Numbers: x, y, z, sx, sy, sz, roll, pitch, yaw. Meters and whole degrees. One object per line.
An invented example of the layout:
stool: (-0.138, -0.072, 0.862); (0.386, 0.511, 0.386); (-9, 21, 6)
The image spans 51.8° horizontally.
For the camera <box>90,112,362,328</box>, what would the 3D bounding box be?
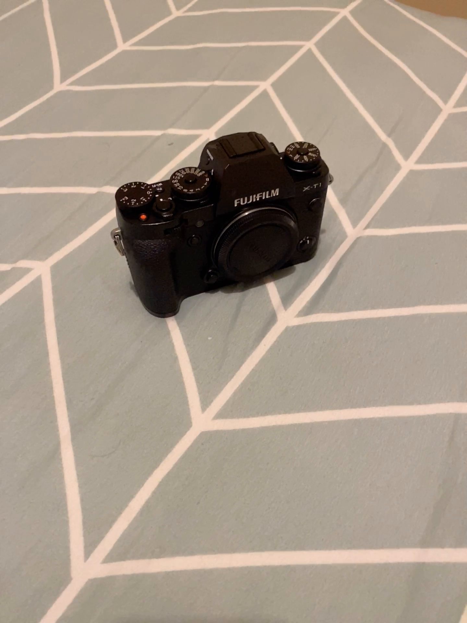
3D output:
camera: (-0.003, -0.057, 0.301); (0.142, 0.082, 0.054); (-19, 54, -12)
